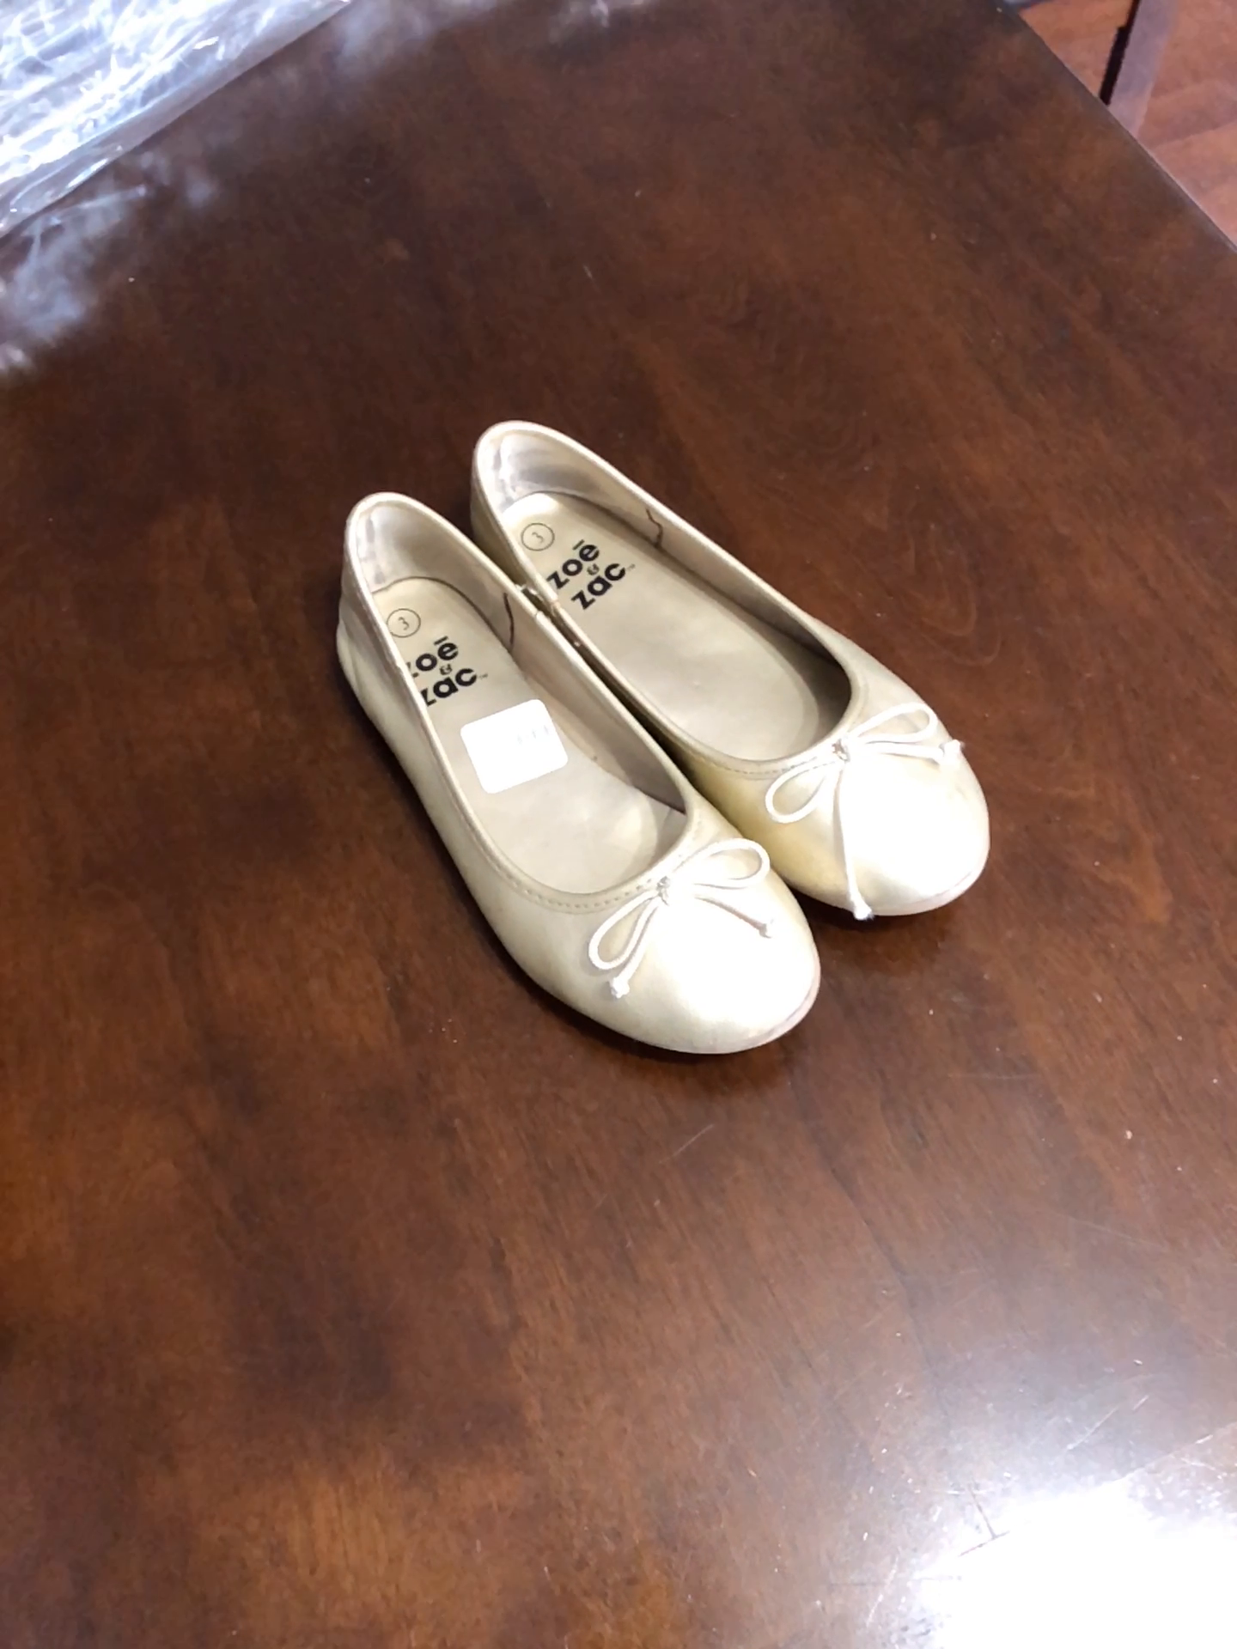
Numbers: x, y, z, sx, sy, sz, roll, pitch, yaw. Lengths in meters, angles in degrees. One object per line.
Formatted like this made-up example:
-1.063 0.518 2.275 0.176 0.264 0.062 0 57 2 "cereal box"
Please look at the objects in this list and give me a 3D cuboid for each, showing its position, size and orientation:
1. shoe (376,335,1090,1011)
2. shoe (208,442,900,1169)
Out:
0.030 -0.058 0.464 0.090 0.070 0.230 -39 66 -17 "shoe"
-0.026 -0.013 0.436 0.080 0.070 0.230 -37 66 -16 "shoe"
